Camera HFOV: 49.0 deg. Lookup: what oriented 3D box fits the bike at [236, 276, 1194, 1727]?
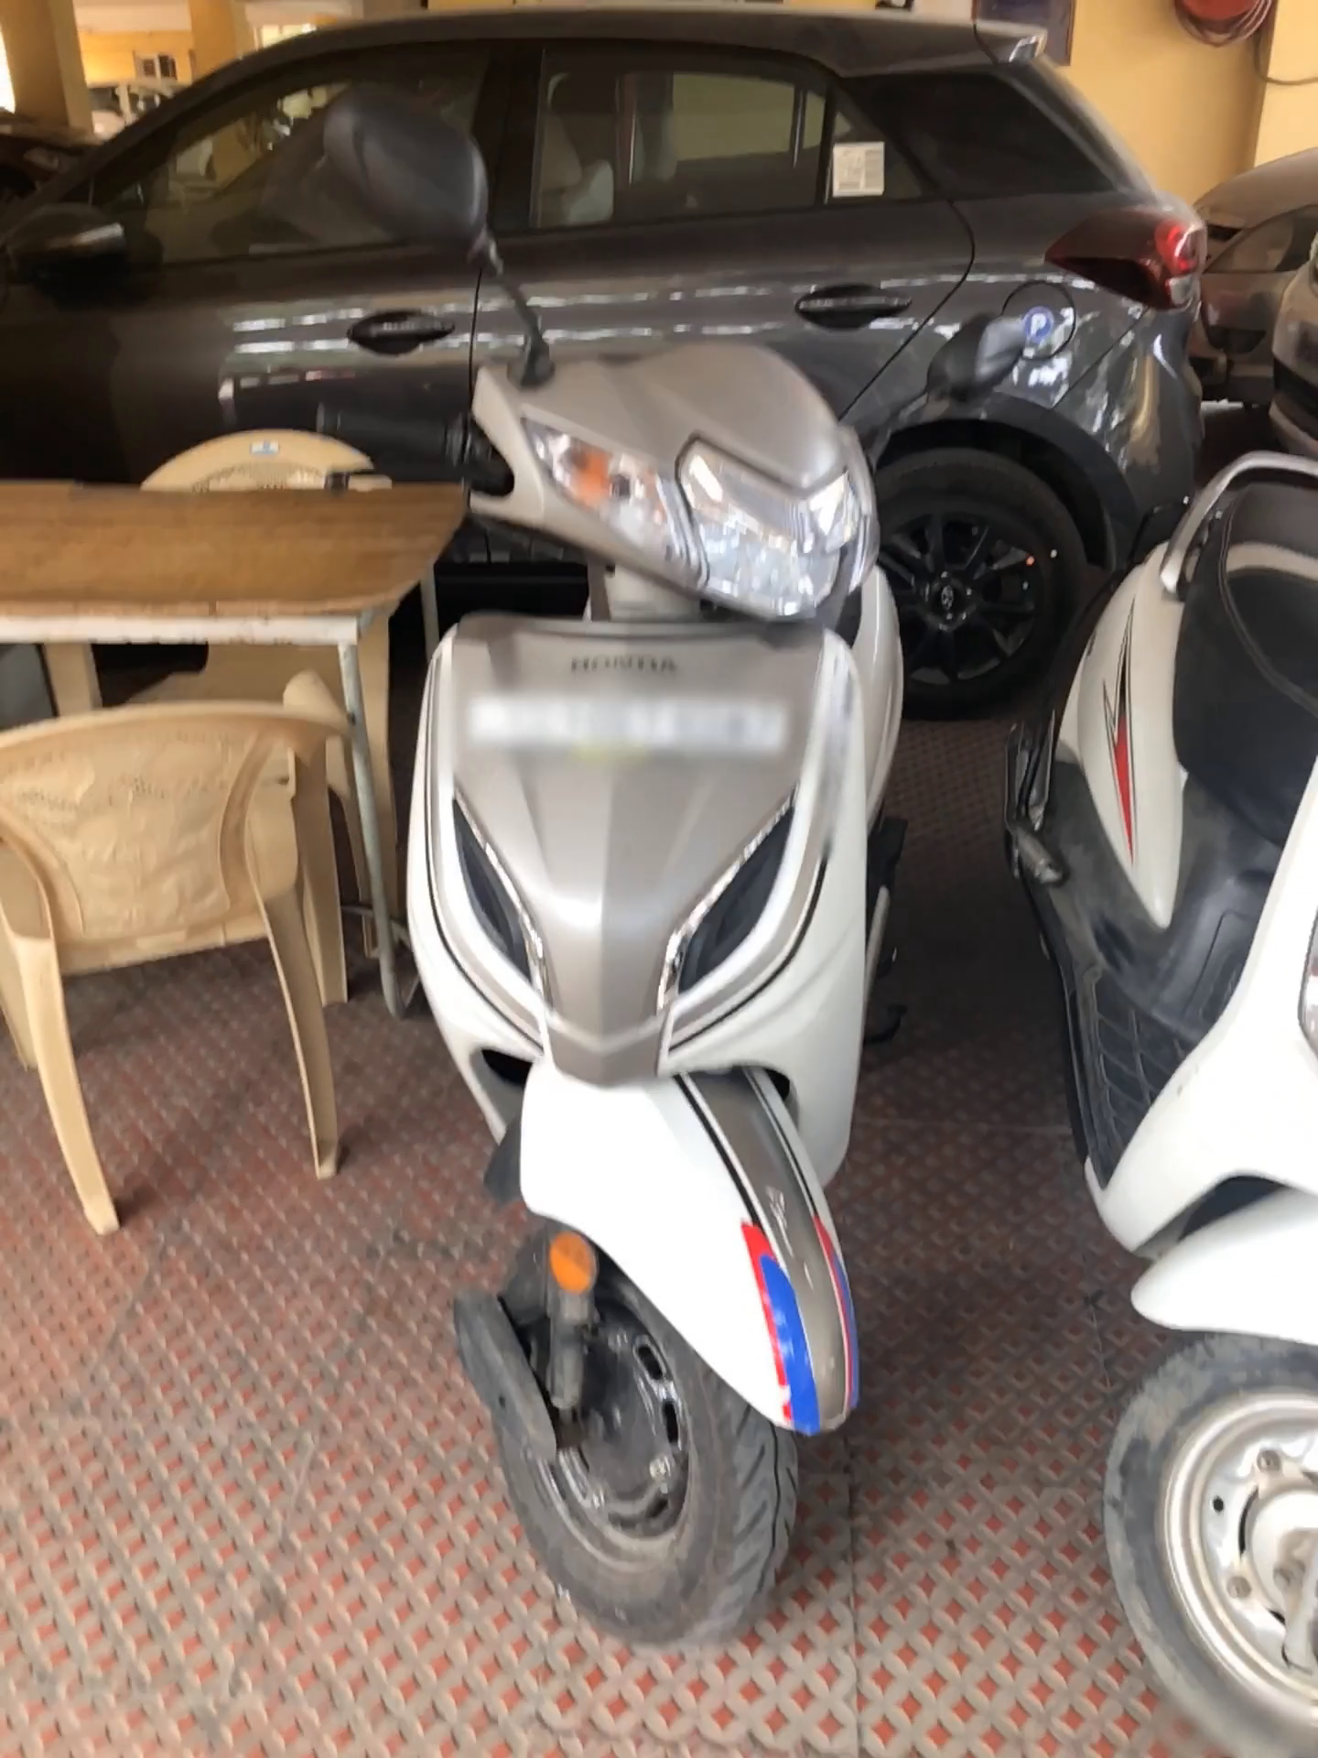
[{"bbox_3d":[0.062,-0.053,1.728,0.626,0.850,1.463,0,35,3],"label":"bike"}]
